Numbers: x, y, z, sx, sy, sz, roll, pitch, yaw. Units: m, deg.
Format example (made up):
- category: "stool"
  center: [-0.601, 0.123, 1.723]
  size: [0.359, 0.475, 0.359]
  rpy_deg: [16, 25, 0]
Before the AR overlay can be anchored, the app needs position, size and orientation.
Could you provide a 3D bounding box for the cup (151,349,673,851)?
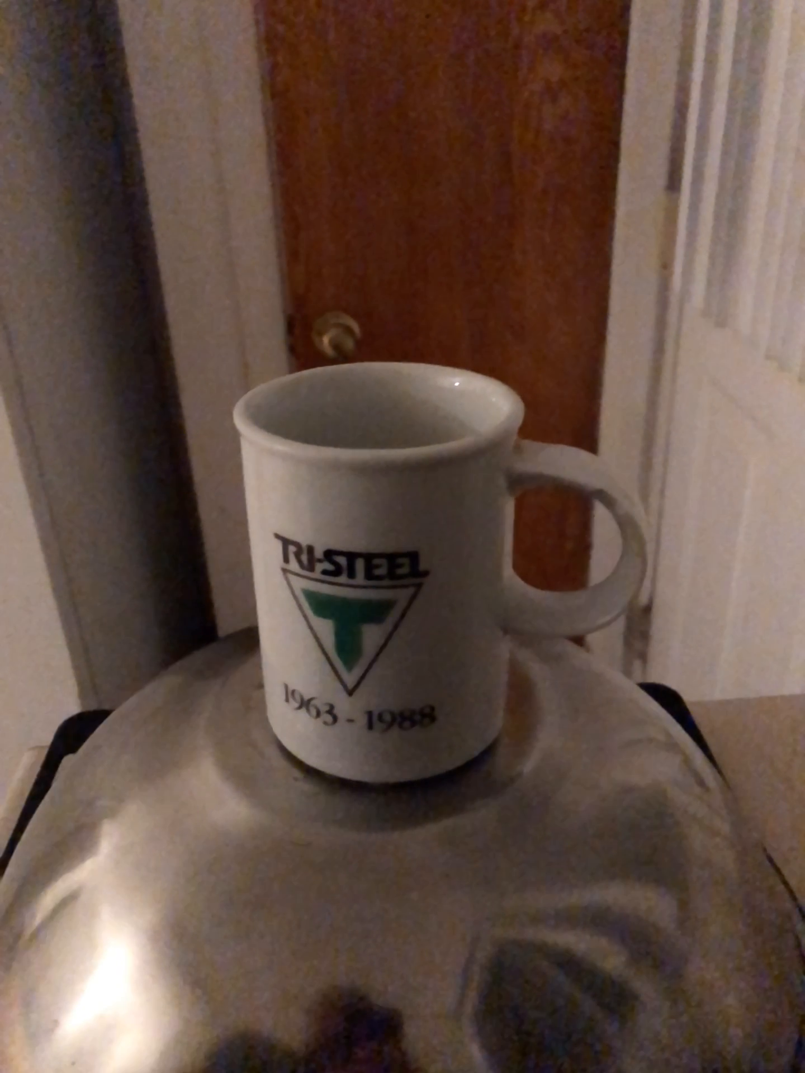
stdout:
- category: "cup"
  center: [0.006, 0.011, 0.253]
  size: [0.116, 0.099, 0.070]
  rpy_deg: [10, 30, 21]
